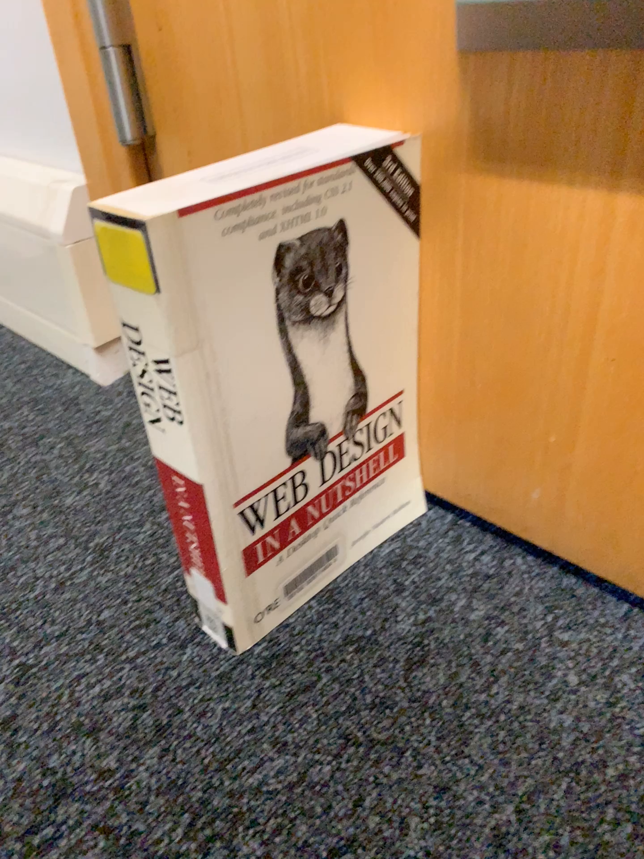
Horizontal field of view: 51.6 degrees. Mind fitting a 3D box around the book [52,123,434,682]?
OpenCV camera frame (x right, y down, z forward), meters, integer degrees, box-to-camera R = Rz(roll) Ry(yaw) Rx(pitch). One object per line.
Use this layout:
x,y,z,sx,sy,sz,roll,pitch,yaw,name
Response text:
-0.014,-0.015,0.339,0.050,0.228,0.171,23,43,36,book
